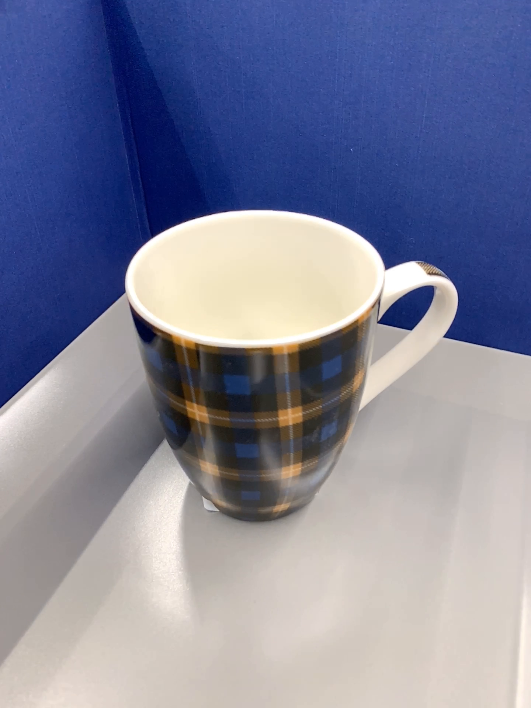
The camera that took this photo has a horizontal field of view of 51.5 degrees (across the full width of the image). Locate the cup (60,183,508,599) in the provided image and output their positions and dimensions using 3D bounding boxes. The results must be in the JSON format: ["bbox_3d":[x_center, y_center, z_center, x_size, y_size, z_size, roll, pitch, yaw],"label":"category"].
[{"bbox_3d":[0.003,0.003,0.215,0.122,0.089,0.095,-20,40,-23],"label":"cup"}]
